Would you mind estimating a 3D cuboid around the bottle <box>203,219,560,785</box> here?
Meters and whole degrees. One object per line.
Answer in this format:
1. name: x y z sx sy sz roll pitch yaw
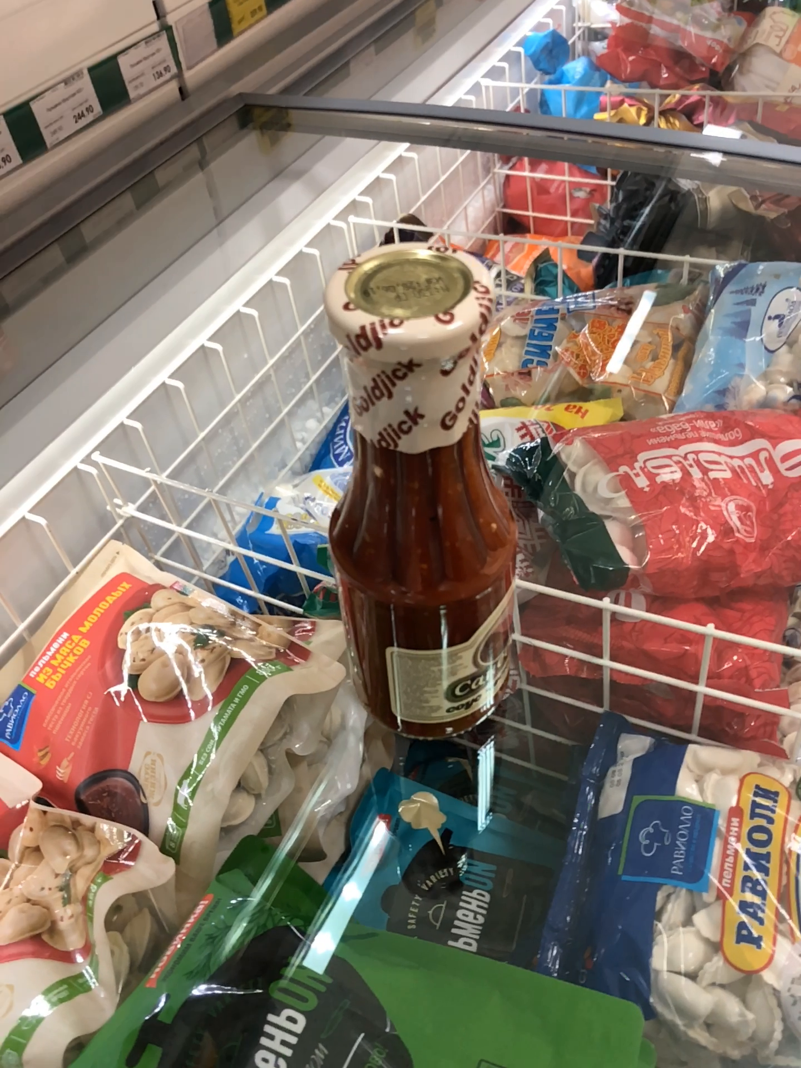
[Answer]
1. bottle: 0.003 0.000 0.297 0.070 0.179 0.070 -3 47 3
